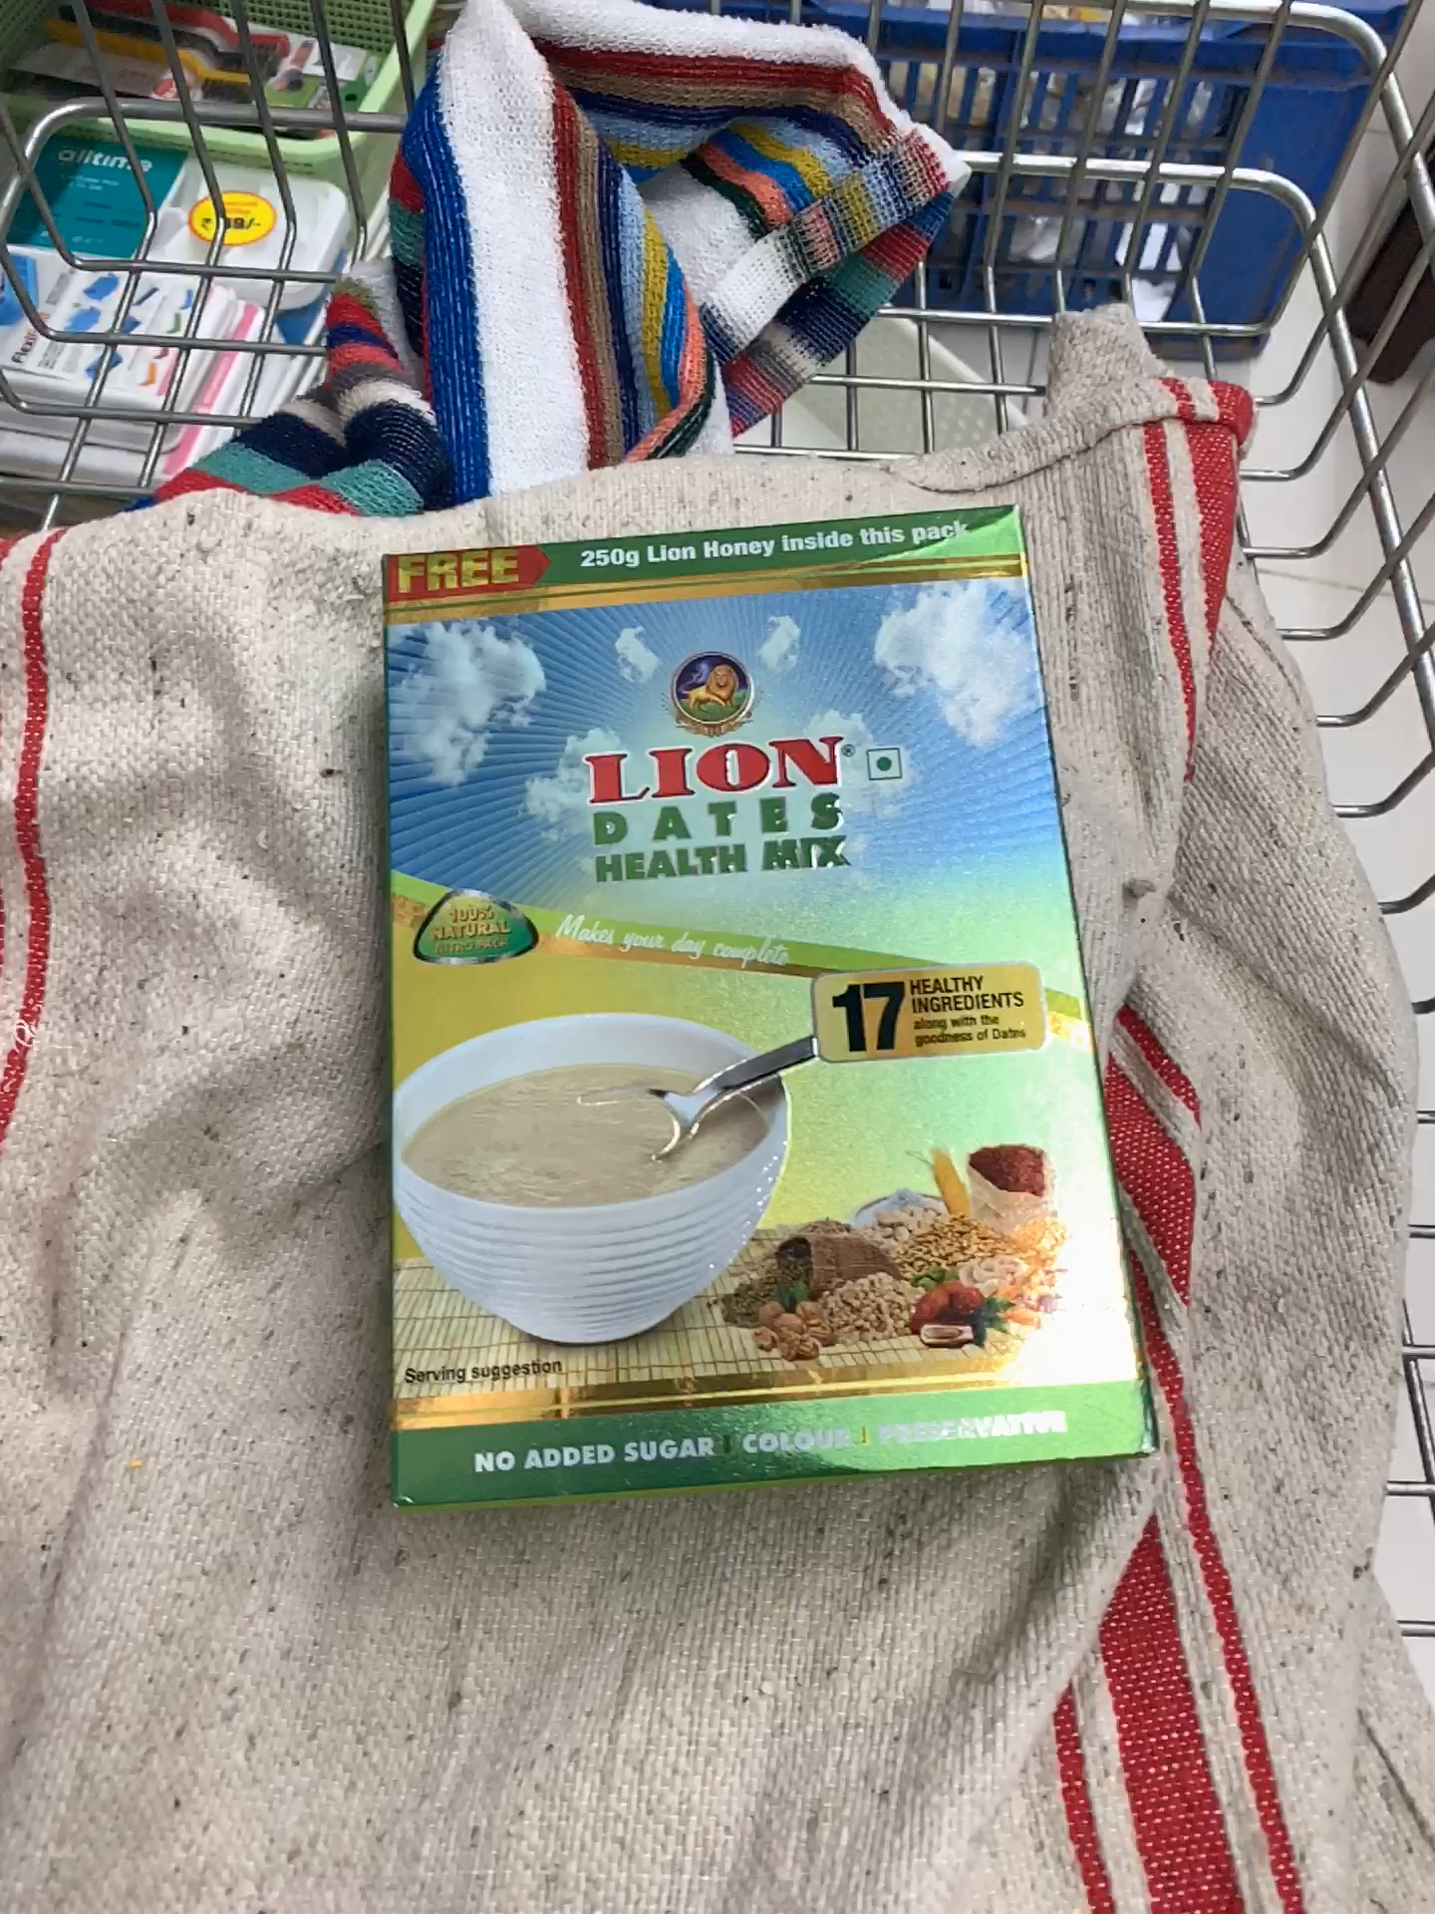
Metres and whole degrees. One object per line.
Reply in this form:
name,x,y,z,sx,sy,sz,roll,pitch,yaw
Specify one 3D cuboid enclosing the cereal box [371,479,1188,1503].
cereal box,0.006,0.010,0.322,0.140,0.090,0.190,-4,74,1
